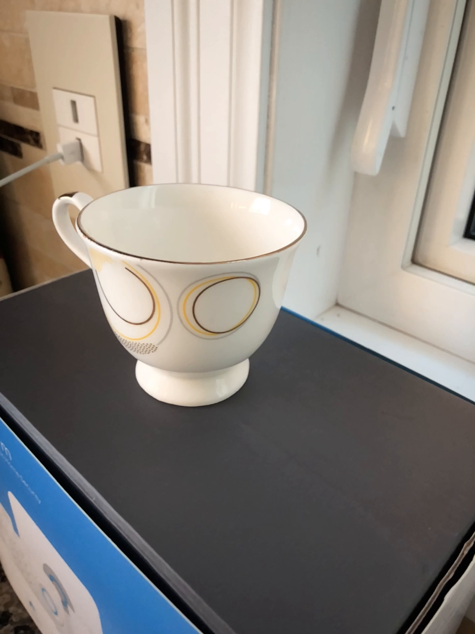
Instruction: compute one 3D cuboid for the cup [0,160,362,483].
[{"bbox_3d":[-0.021,-0.009,0.202,0.100,0.066,0.076,24,38,34],"label":"cup"}]
